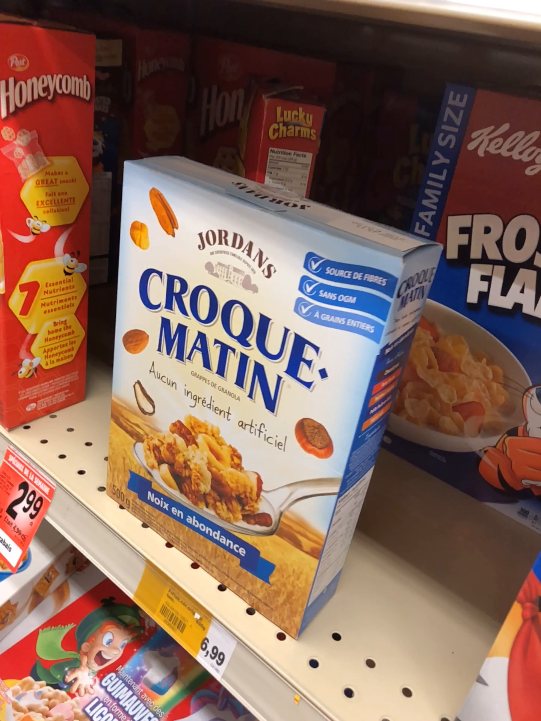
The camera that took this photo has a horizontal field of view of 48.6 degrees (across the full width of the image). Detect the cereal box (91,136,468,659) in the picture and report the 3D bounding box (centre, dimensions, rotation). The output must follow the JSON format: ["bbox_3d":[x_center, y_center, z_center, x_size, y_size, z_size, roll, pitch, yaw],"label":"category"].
[{"bbox_3d":[-0.022,0.021,0.367,0.201,0.258,0.050,27,32,28],"label":"cereal box"}]
